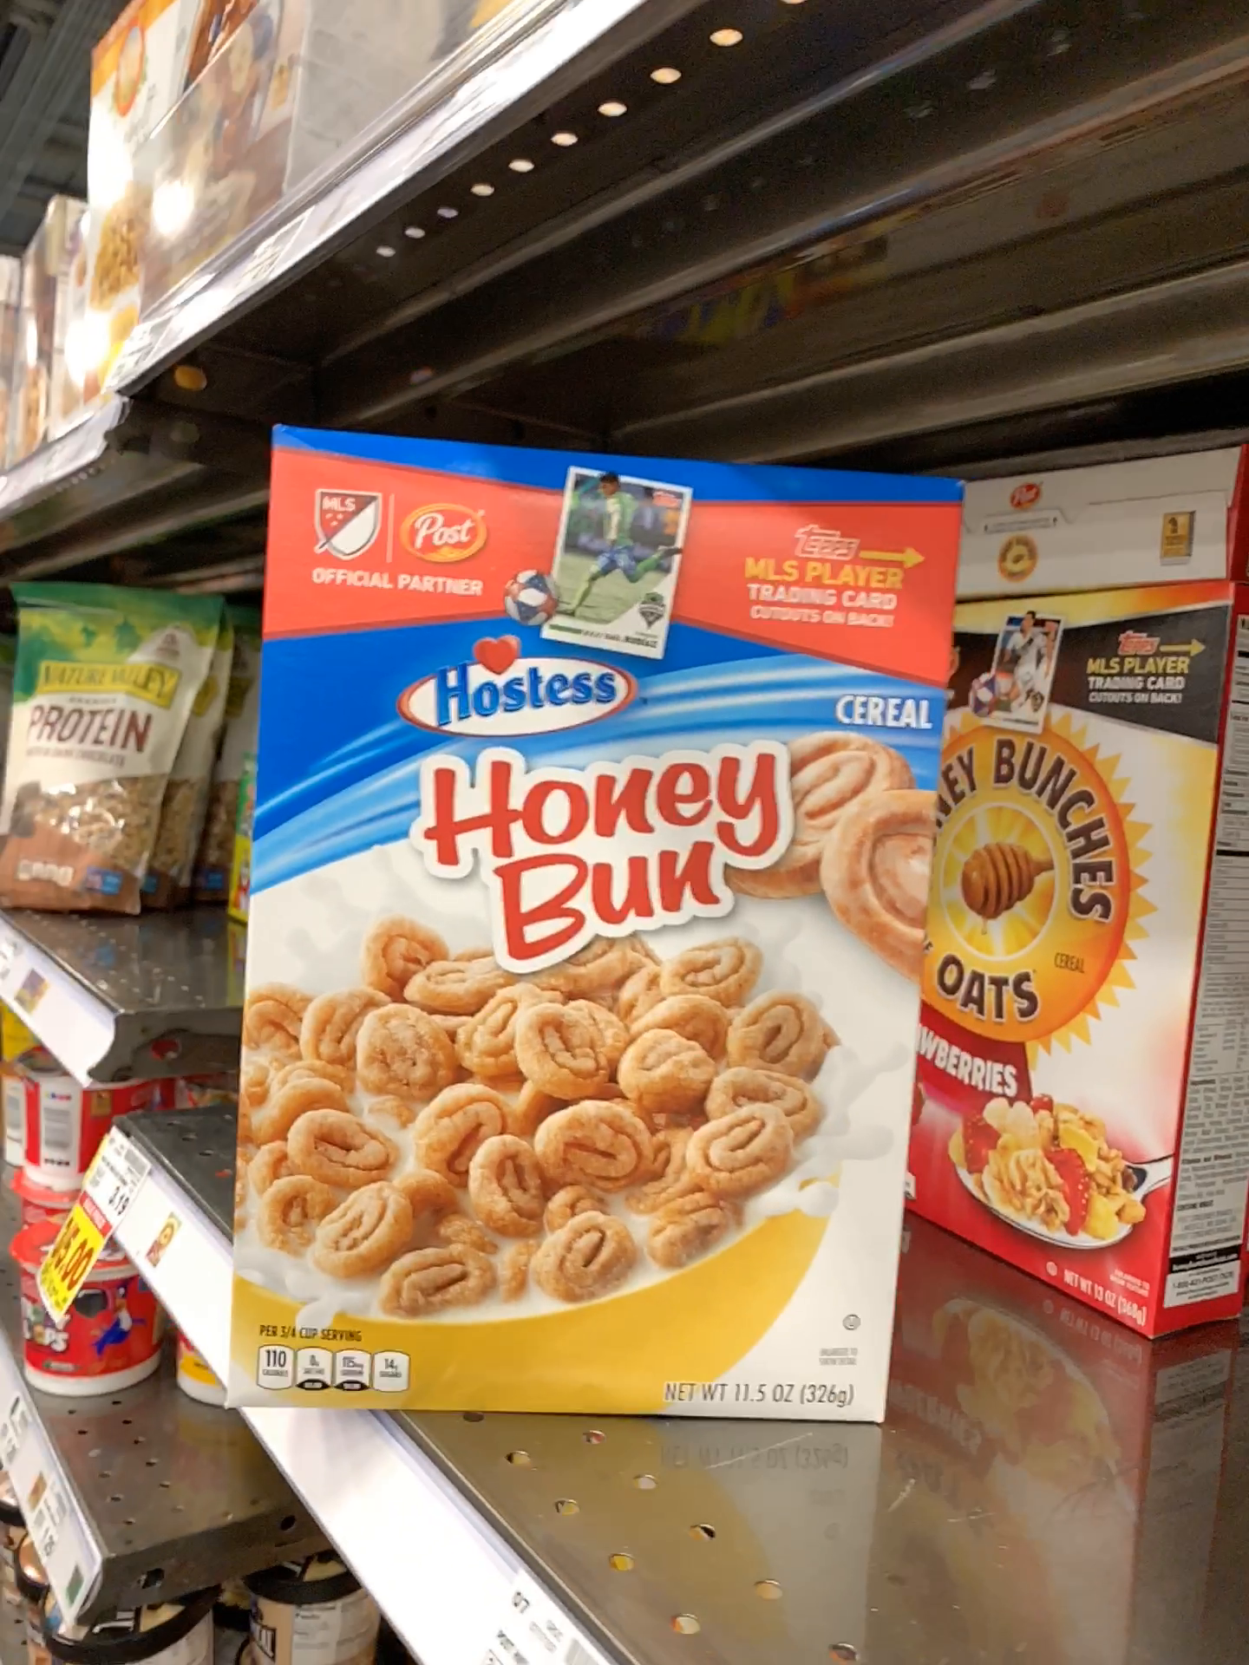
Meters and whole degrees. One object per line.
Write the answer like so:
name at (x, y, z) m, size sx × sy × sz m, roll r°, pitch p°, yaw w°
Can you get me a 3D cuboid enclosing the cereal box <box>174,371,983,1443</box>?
cereal box at (-0.014, 0.024, 0.380) m, size 0.200 × 0.280 × 0.060 m, roll 4°, pitch 3°, yaw -5°
